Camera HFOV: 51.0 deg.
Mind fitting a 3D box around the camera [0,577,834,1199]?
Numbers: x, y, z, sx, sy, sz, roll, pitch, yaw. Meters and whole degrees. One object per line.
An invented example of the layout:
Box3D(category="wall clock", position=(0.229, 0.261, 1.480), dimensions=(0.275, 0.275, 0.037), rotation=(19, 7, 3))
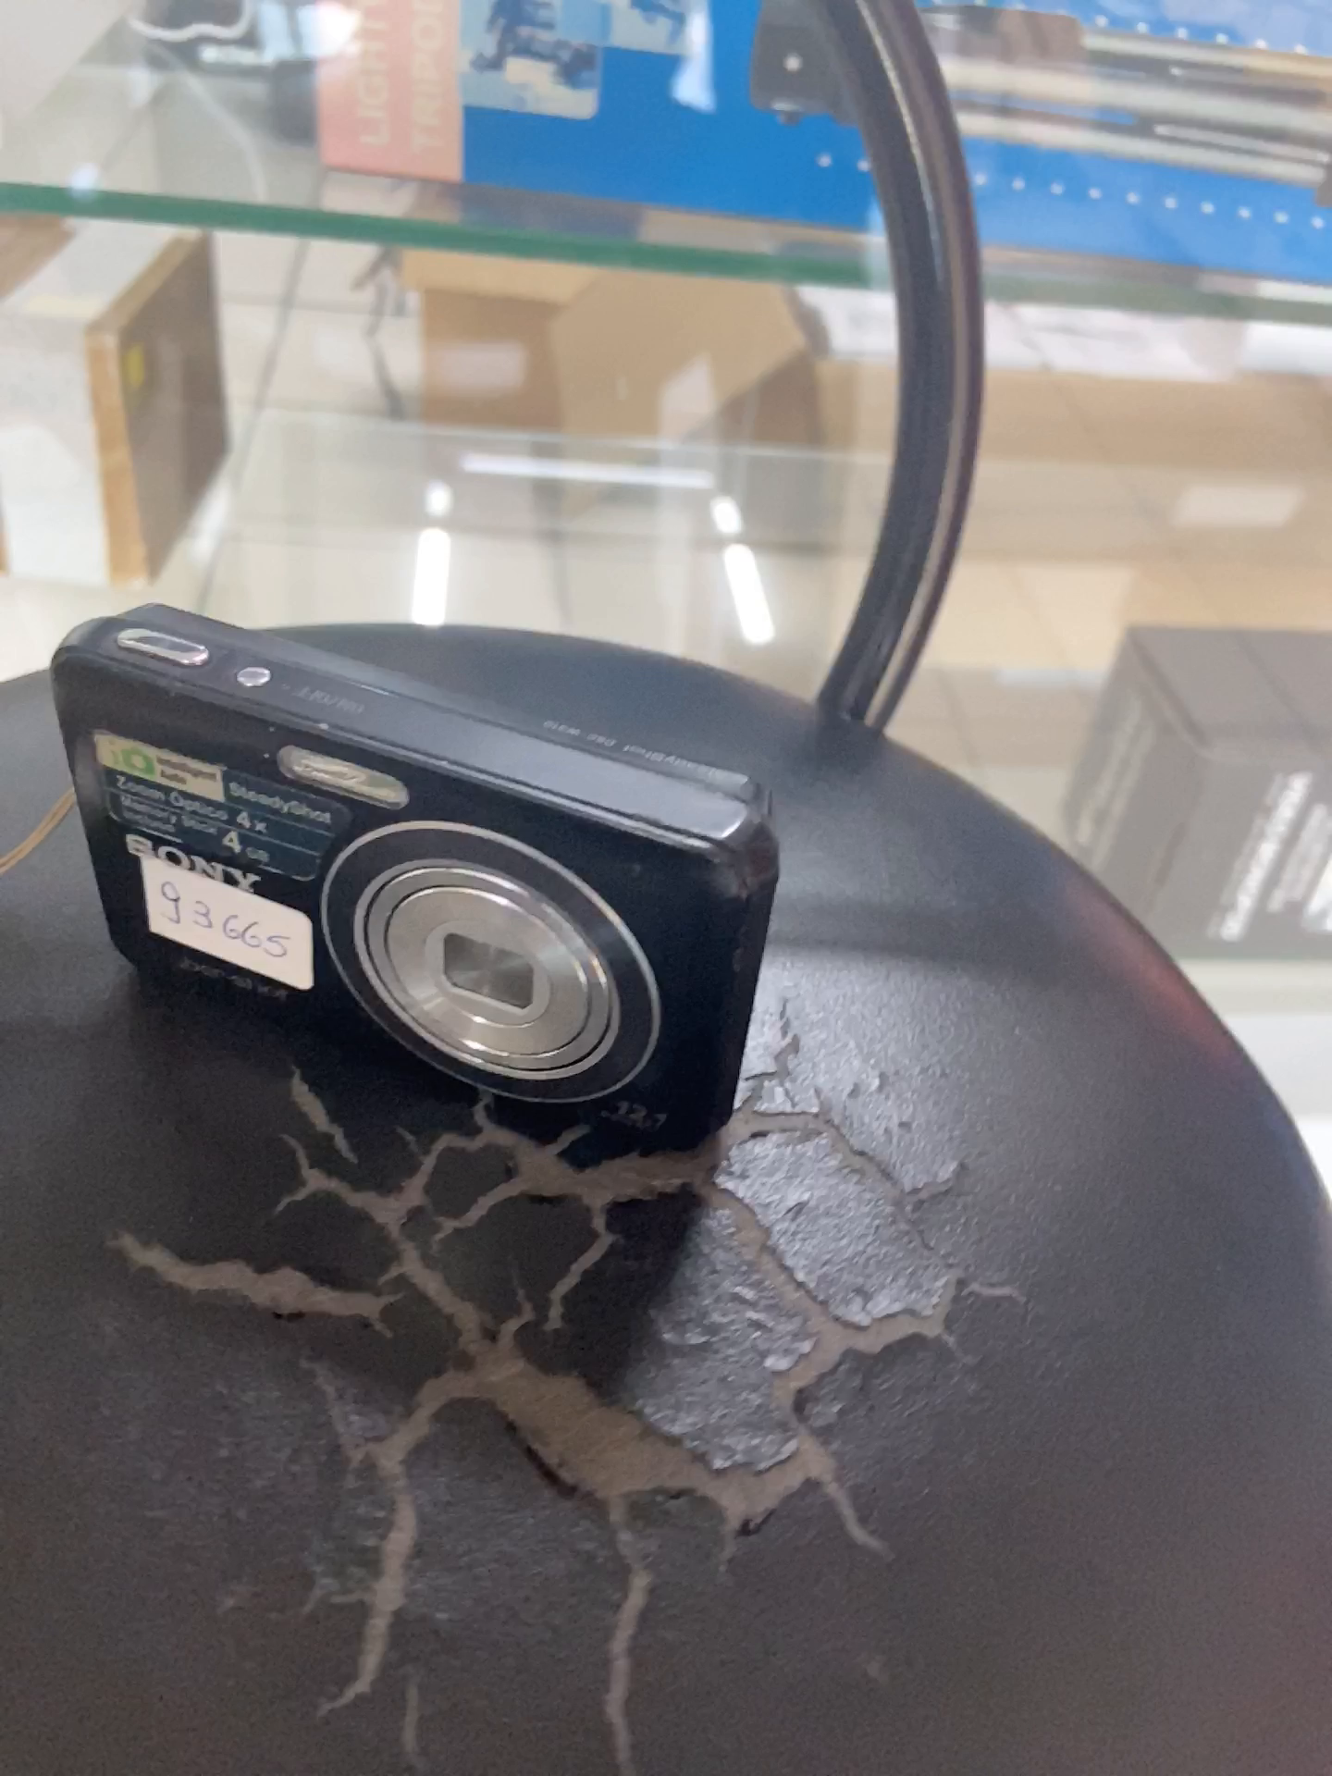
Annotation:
Box3D(category="camera", position=(-0.037, -0.001, 0.185), dimensions=(0.110, 0.050, 0.020), rotation=(18, 41, 12))
